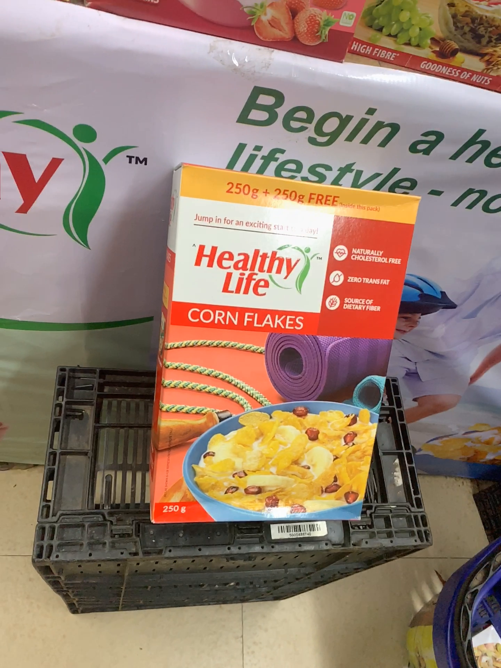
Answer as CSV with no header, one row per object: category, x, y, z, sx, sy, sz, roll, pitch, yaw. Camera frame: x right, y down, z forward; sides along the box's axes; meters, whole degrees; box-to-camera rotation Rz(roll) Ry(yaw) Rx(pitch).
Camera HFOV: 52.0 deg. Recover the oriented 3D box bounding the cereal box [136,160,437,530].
cereal box,0.016,0.015,0.437,0.200,0.280,0.090,4,14,-13
